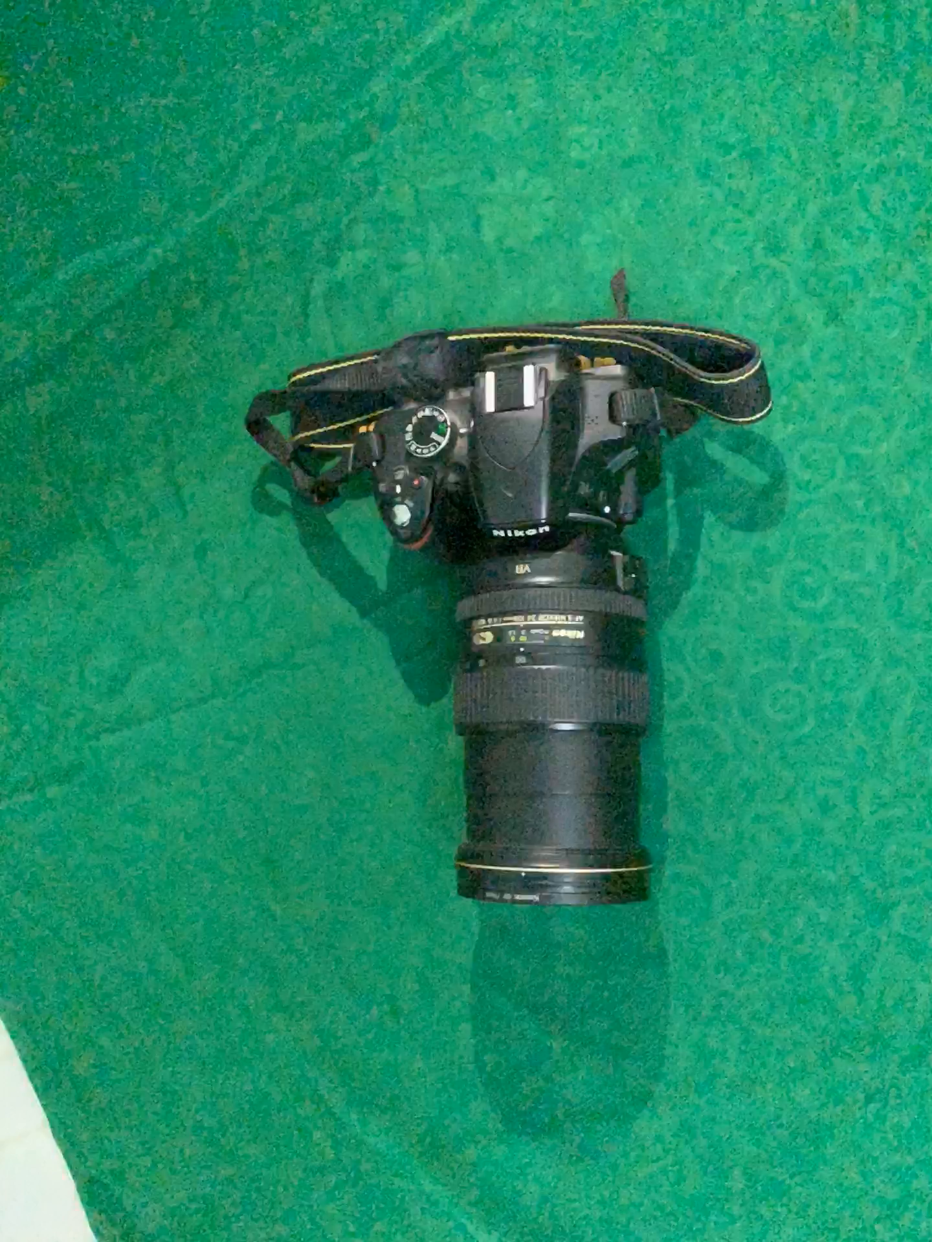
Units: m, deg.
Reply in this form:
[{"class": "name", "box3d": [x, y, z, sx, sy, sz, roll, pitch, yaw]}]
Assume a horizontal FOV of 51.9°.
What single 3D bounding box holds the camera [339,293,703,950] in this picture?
[{"class": "camera", "box3d": [0.023, 0.005, 0.398, 0.122, 0.088, 0.234, -5, 80, 19]}]
